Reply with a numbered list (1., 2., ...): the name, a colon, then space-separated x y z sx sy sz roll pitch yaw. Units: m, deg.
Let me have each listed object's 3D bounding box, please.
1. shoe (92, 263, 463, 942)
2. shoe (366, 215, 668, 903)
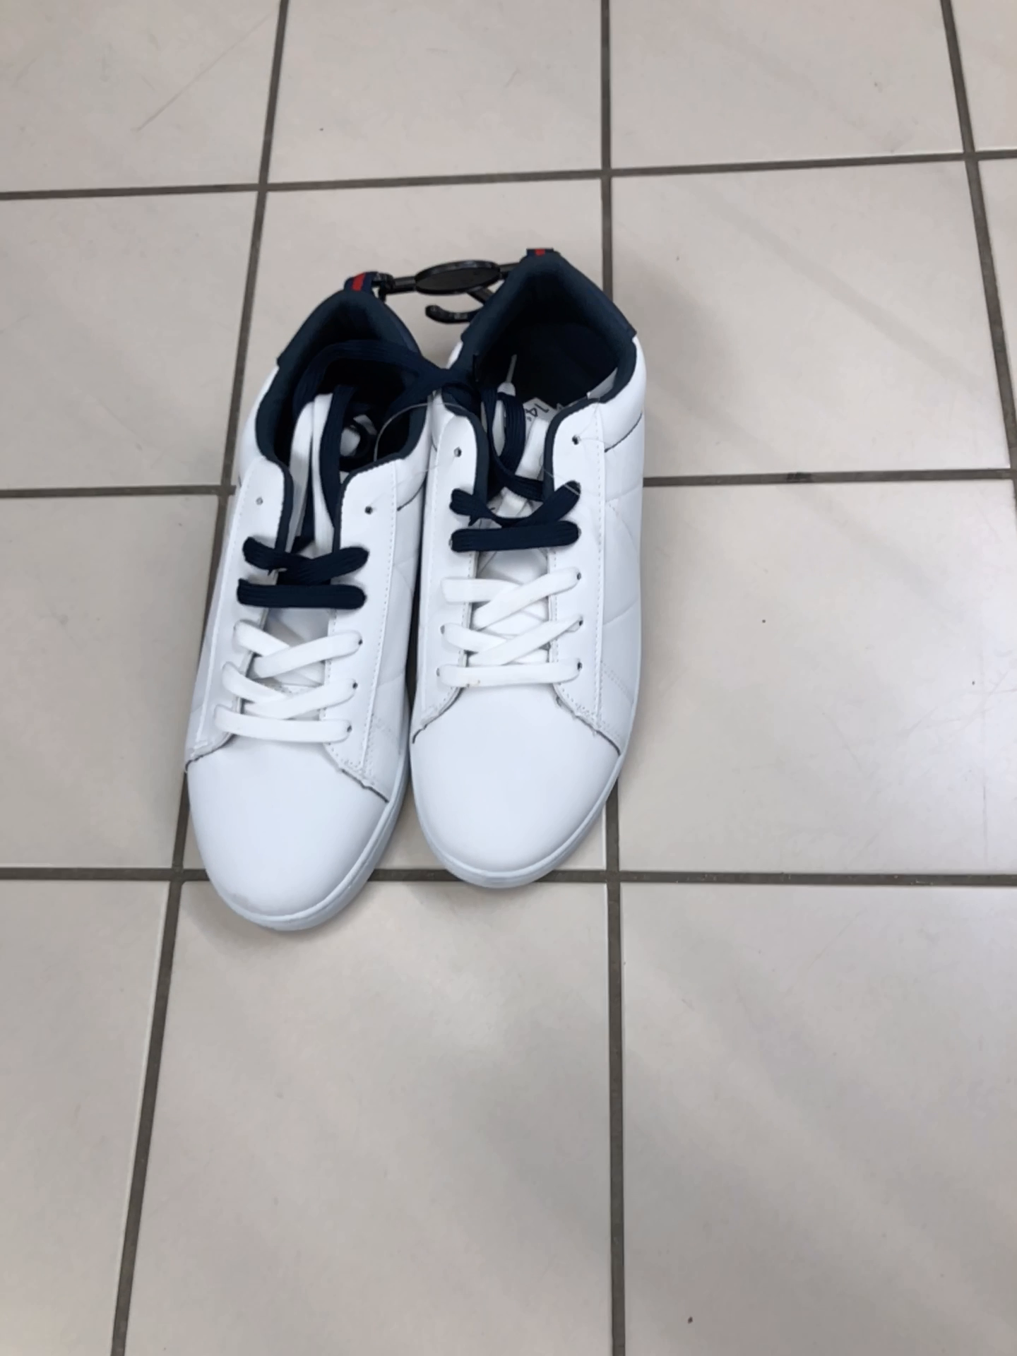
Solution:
1. shoe: -0.091 -0.037 0.513 0.100 0.100 0.291 3 70 6
2. shoe: 0.014 -0.056 0.504 0.100 0.100 0.291 3 70 6
